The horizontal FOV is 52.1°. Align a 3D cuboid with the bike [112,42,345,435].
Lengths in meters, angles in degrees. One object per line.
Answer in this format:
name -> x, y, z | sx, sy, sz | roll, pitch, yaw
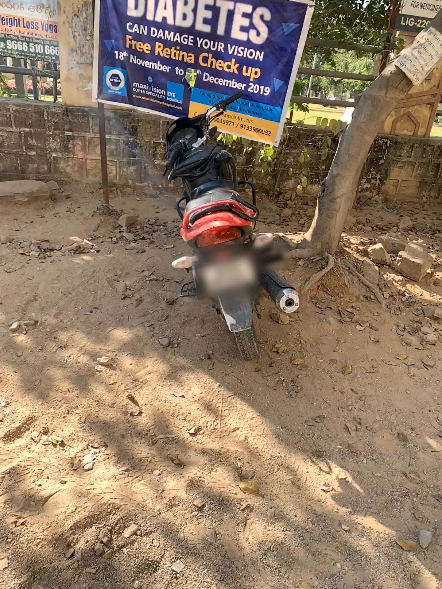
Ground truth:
bike -> -0.184, -0.449, 2.473 | 0.752, 1.442, 1.623 | -1, 29, -14
